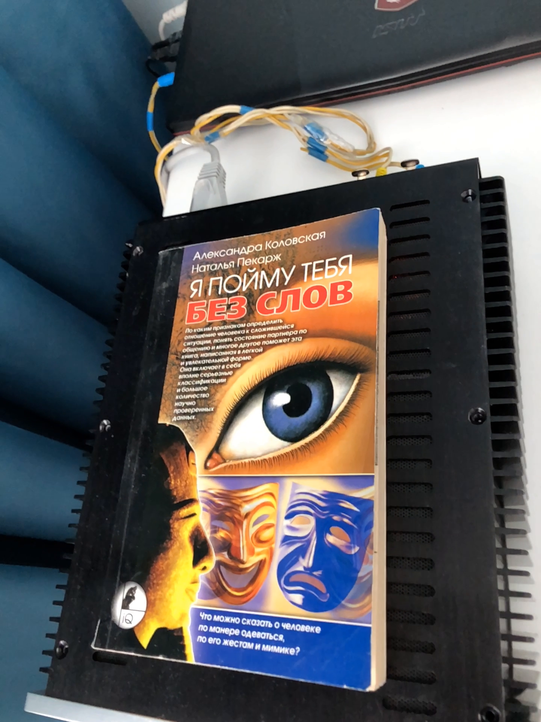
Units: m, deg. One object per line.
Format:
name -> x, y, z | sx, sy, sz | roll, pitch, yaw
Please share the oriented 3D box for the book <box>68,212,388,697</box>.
book -> -0.014, 0.030, 0.259 | 0.123, 0.023, 0.183 | -5, 67, 24
